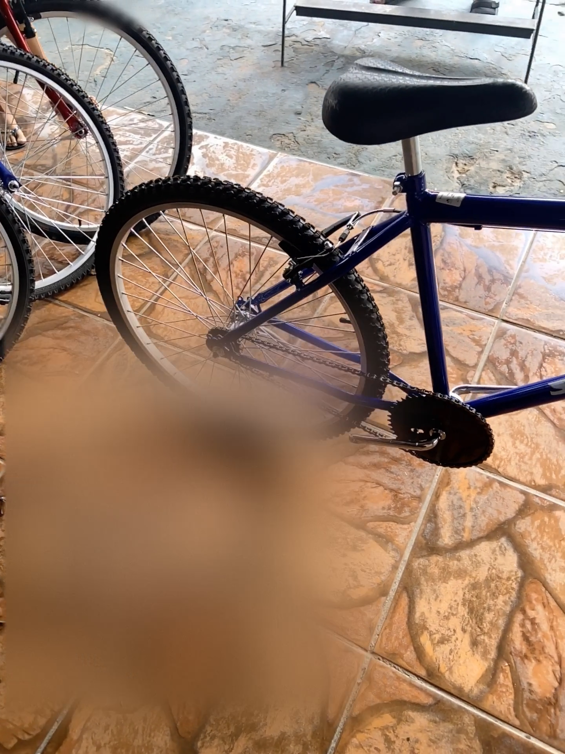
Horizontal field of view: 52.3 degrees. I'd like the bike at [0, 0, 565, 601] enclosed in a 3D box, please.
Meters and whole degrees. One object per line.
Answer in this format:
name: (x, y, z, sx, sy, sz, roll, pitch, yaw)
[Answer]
bike: (0.395, -0.208, 1.009, 1.524, 1.014, 0.574, 12, 57, 10)
